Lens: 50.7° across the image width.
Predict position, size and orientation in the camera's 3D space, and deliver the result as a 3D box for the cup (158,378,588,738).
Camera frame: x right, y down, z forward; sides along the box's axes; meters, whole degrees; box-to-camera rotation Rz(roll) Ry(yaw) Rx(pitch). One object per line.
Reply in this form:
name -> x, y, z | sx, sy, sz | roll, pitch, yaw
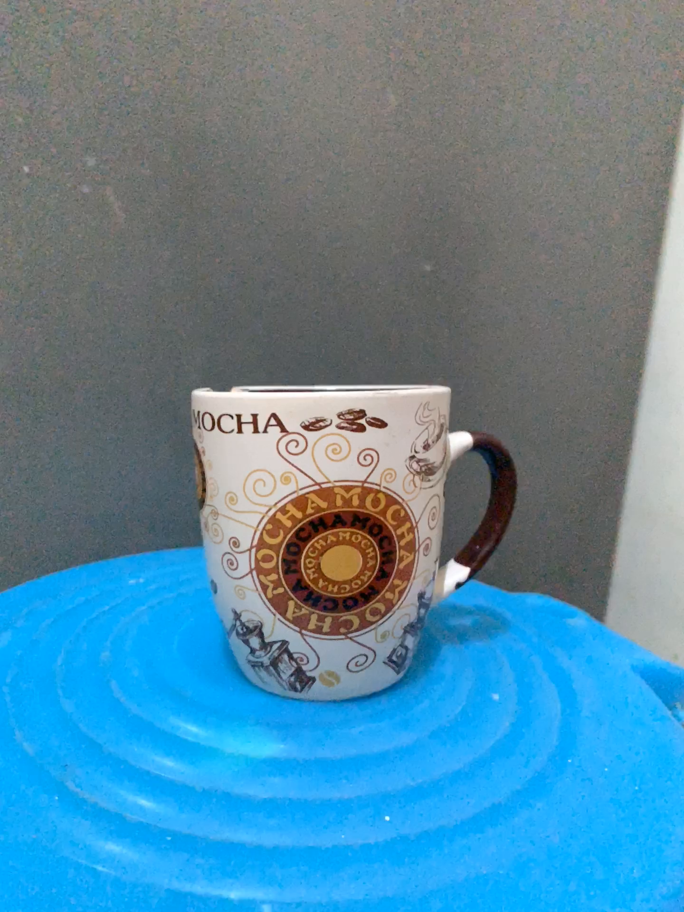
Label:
cup -> 0.007, 0.019, 0.223 | 0.109, 0.083, 0.070 | -3, 8, -27
